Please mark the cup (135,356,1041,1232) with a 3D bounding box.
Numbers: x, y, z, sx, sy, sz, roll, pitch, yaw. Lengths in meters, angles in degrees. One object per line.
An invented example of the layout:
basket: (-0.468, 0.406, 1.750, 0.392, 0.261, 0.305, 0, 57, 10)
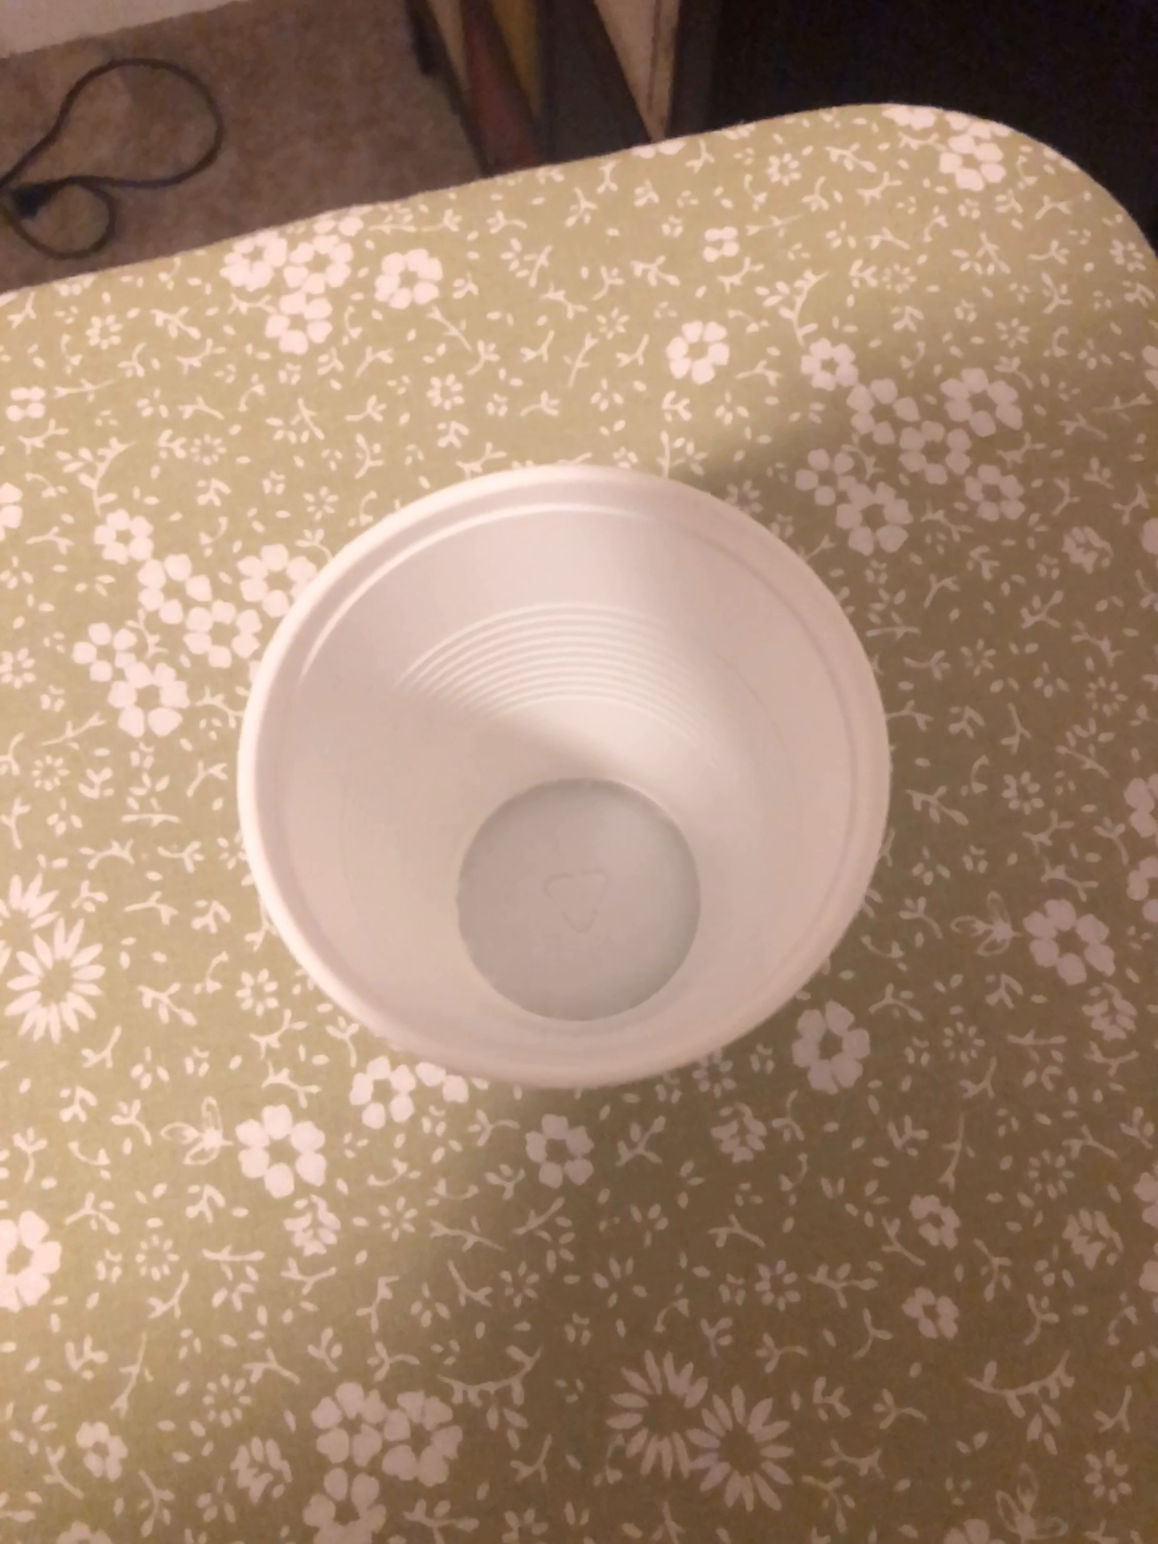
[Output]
cup: (0.001, 0.010, 0.199, 0.077, 0.090, 0.078, 0, 74, 0)
